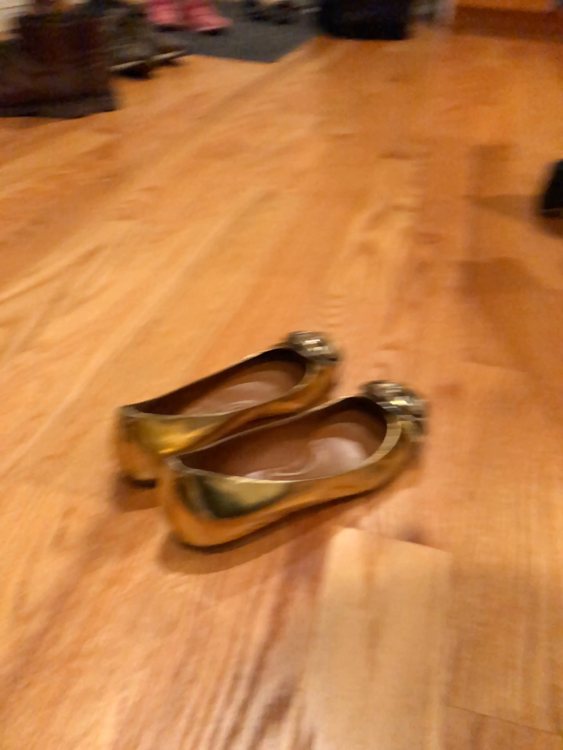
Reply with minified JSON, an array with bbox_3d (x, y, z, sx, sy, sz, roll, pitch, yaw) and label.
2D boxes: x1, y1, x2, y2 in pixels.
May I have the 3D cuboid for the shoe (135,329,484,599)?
[{"bbox_3d":[0.029,0.048,0.444,0.250,0.066,0.077,-23,44,-32],"label":"shoe"}]

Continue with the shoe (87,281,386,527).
[{"bbox_3d":[-0.023,0.007,0.496,0.083,0.066,0.245,29,43,30],"label":"shoe"}]
